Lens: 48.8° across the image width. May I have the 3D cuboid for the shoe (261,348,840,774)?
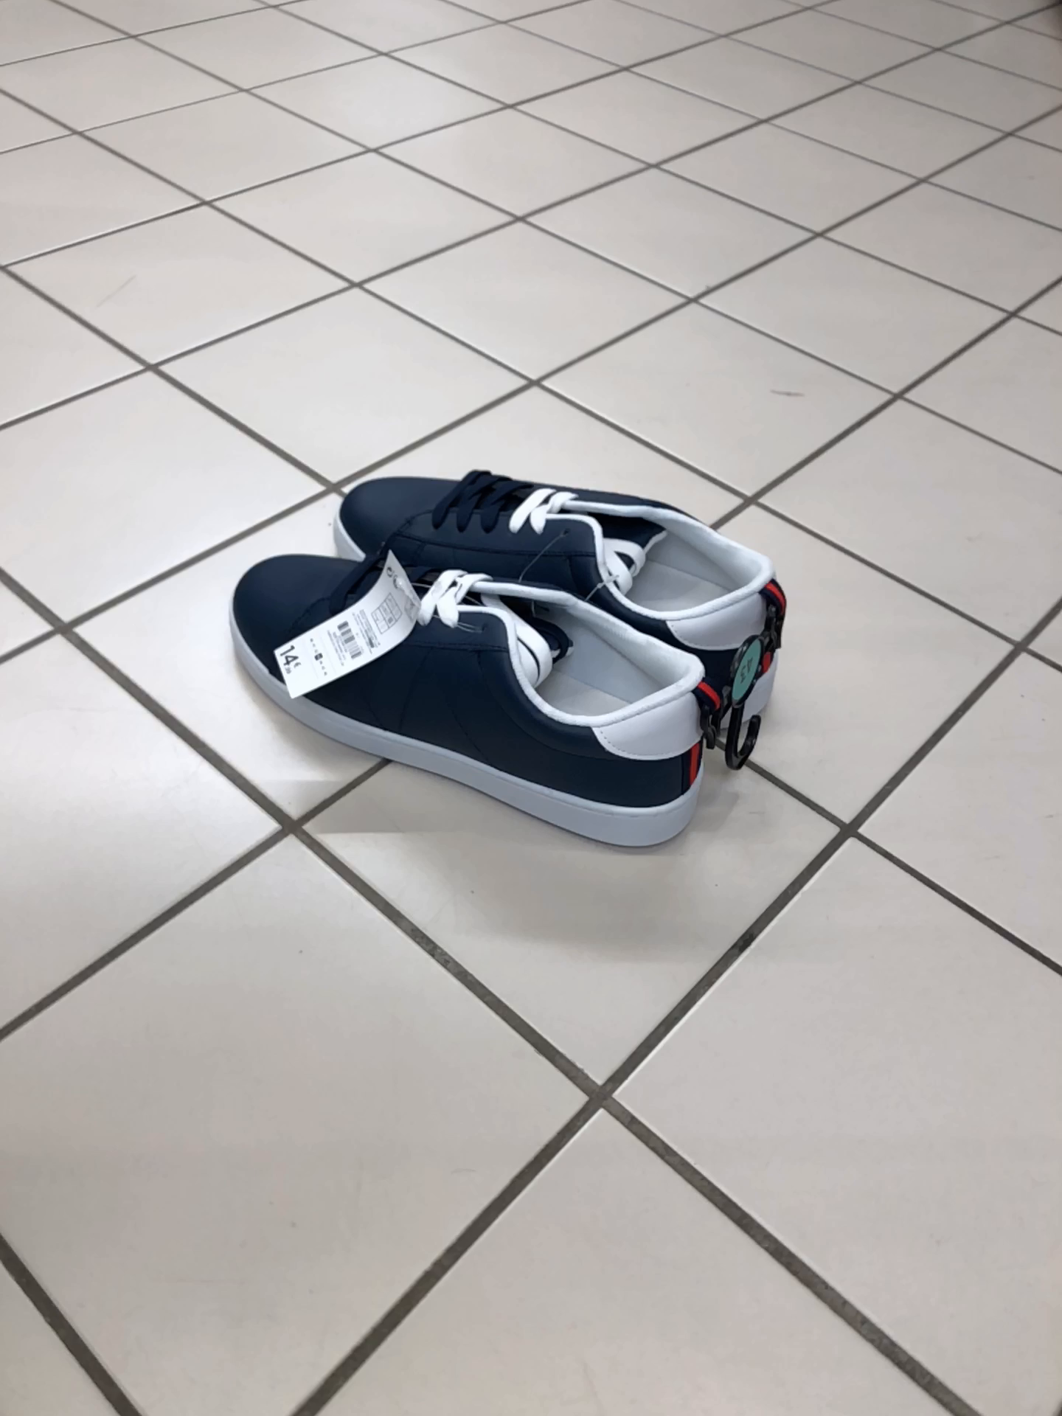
[{"bbox_3d":[0.004,-0.088,0.644,0.290,0.099,0.101,25,48,17],"label":"shoe"}]

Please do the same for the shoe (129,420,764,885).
[{"bbox_3d":[-0.046,-0.035,0.592,0.290,0.099,0.101,23,48,16],"label":"shoe"}]
